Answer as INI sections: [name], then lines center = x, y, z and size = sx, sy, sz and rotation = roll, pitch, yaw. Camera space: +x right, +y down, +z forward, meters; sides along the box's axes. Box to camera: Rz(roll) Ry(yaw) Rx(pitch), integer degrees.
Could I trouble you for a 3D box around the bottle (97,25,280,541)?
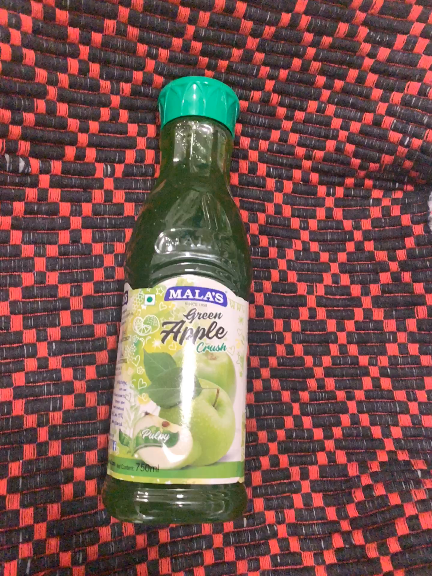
[bottle]
center = -0.015, -0.010, 0.247
size = 0.070, 0.070, 0.250
rotation = 7, 71, -17
